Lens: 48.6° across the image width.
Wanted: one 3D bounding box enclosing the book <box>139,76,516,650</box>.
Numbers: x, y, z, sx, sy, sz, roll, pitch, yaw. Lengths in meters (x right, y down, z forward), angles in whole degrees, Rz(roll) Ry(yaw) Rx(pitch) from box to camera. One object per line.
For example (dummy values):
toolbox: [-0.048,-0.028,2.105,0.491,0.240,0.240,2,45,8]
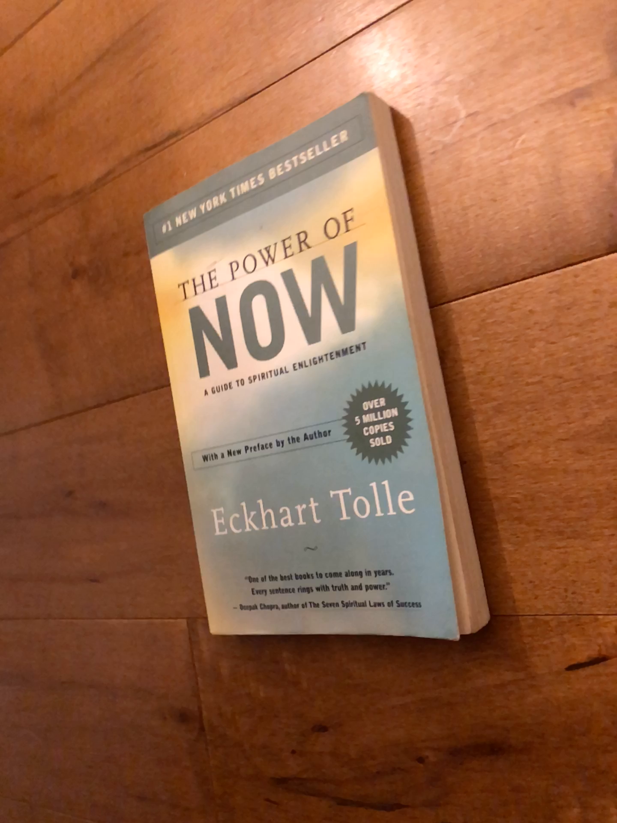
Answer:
book: [-0.003,-0.009,0.312,0.147,0.030,0.222,-14,83,36]
